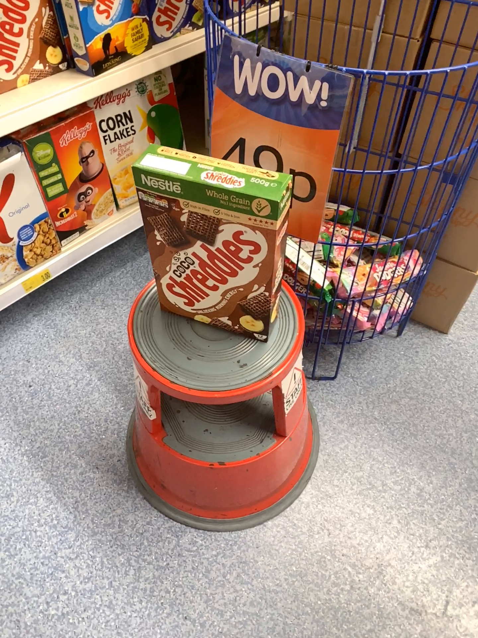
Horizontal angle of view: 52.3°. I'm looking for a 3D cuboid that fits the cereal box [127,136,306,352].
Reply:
[{"bbox_3d":[-0.028,-0.090,0.682,0.200,0.278,0.071,17,53,13],"label":"cereal box"}]
